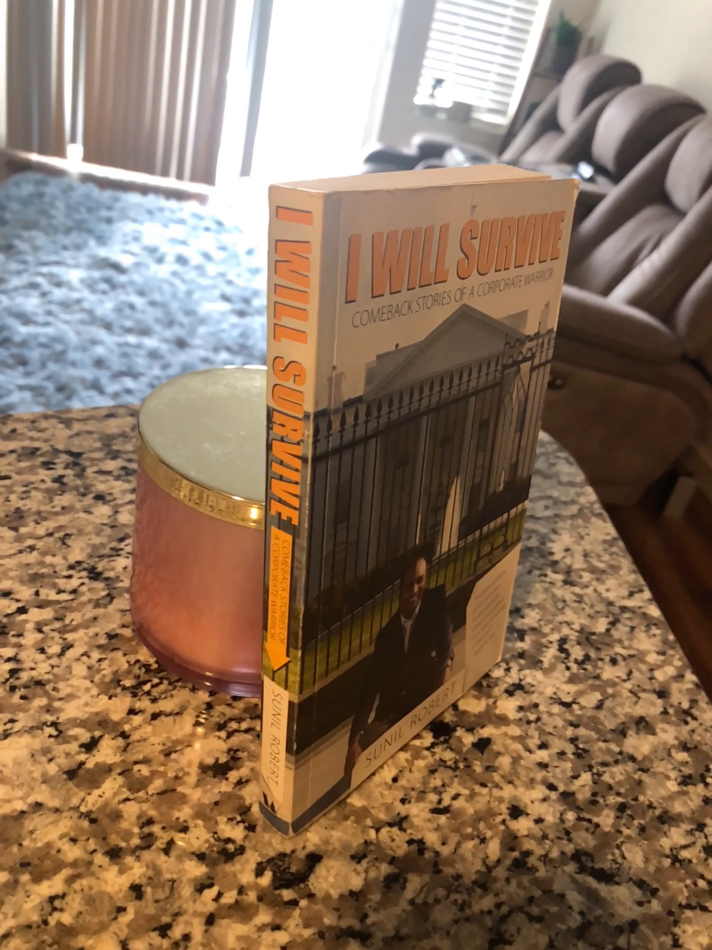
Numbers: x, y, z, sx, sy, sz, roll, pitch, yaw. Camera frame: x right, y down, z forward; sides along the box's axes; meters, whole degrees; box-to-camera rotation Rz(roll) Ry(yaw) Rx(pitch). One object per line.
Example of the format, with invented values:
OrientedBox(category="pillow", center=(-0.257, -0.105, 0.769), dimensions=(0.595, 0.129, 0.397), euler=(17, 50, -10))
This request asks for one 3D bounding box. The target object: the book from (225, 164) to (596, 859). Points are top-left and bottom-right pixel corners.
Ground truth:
OrientedBox(category="book", center=(0.019, 0.004, 0.258), dimensions=(0.032, 0.191, 0.135), euler=(21, 30, 33))
